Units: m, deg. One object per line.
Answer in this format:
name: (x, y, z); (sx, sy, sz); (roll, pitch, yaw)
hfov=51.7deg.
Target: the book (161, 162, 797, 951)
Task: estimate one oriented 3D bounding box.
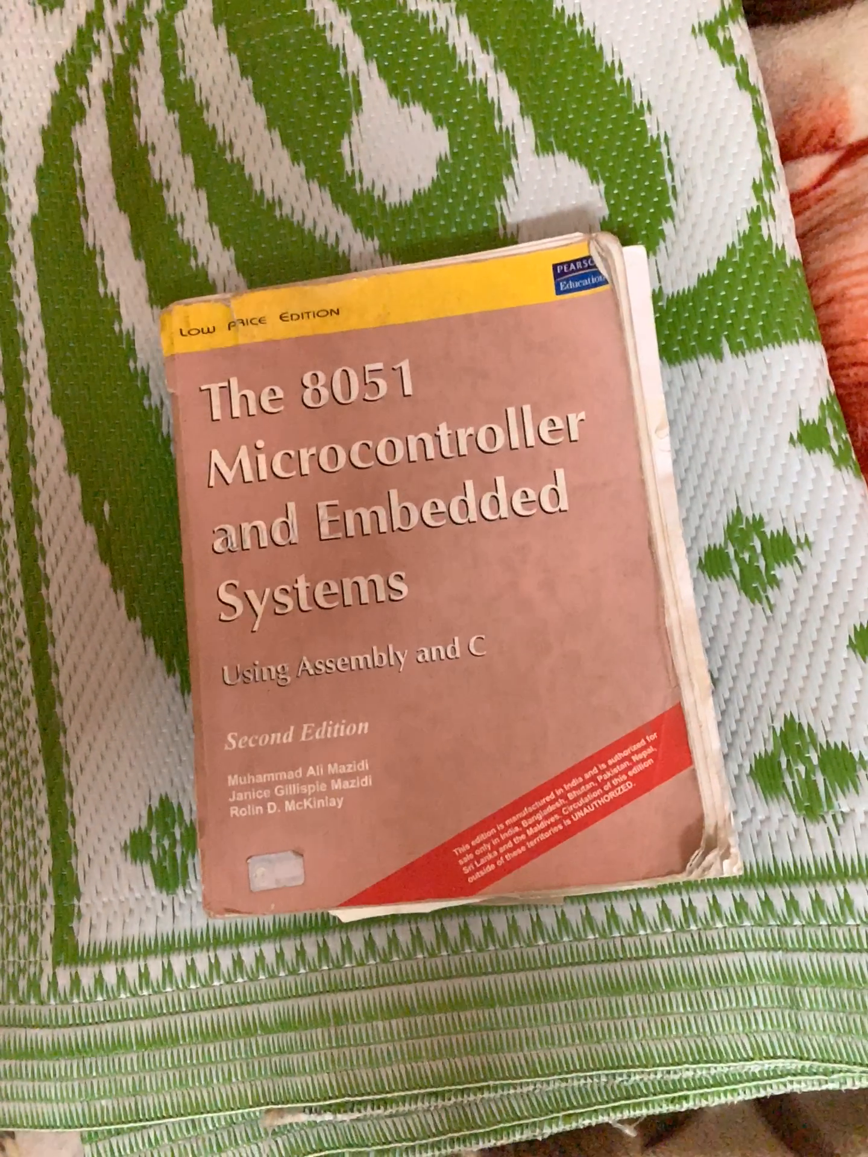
book: (0.009, -0.007, 0.395); (0.230, 0.050, 0.300); (-8, 82, 9)
